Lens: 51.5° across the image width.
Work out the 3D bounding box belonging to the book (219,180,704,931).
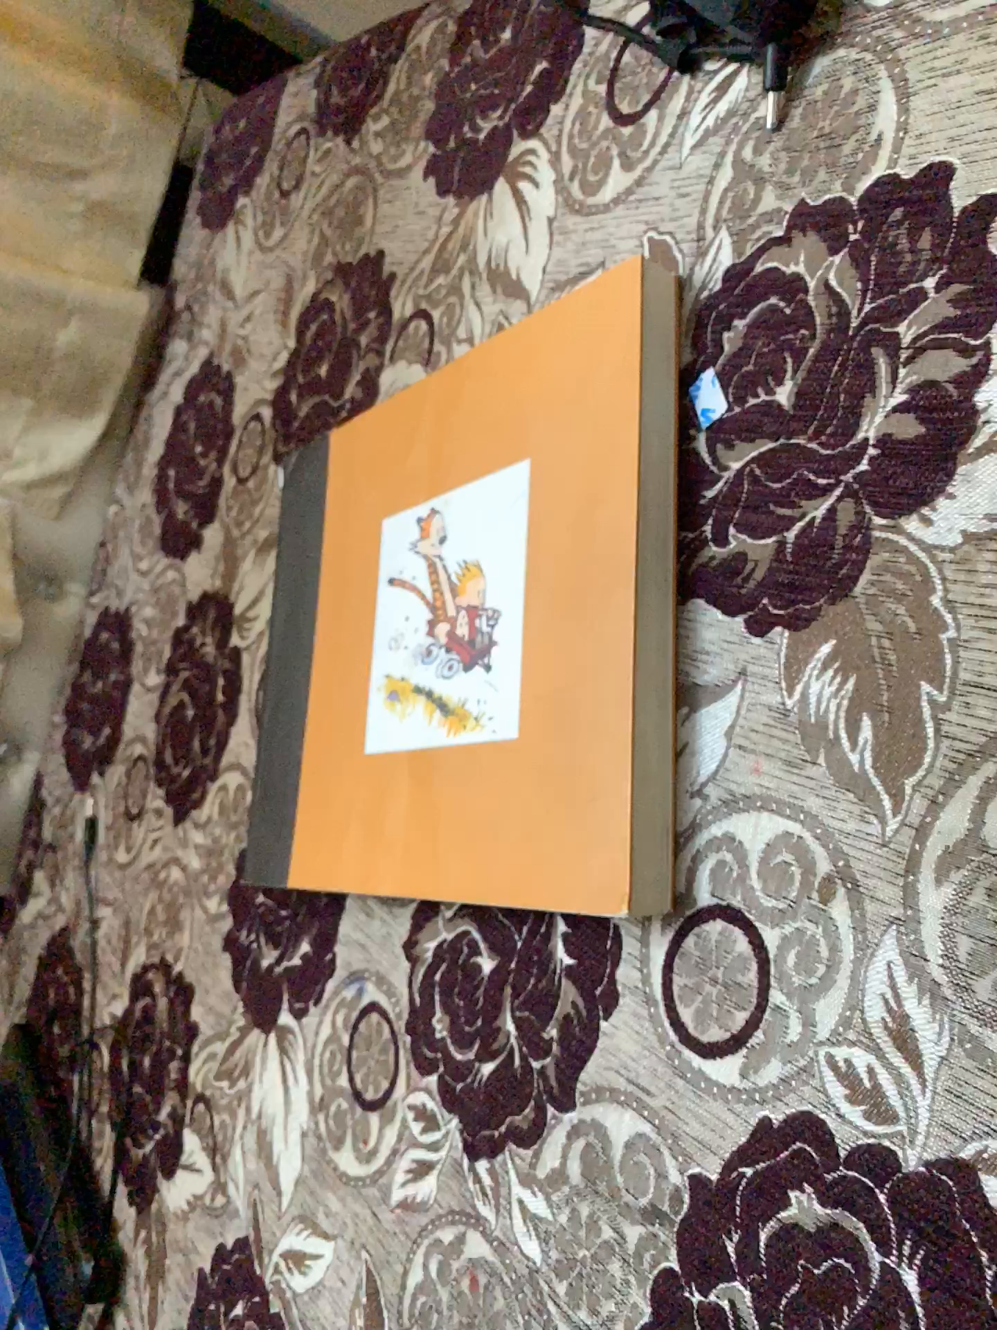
[{"bbox_3d":[-0.031,-0.027,0.459,0.272,0.040,0.260,-11,70,50],"label":"book"}]
